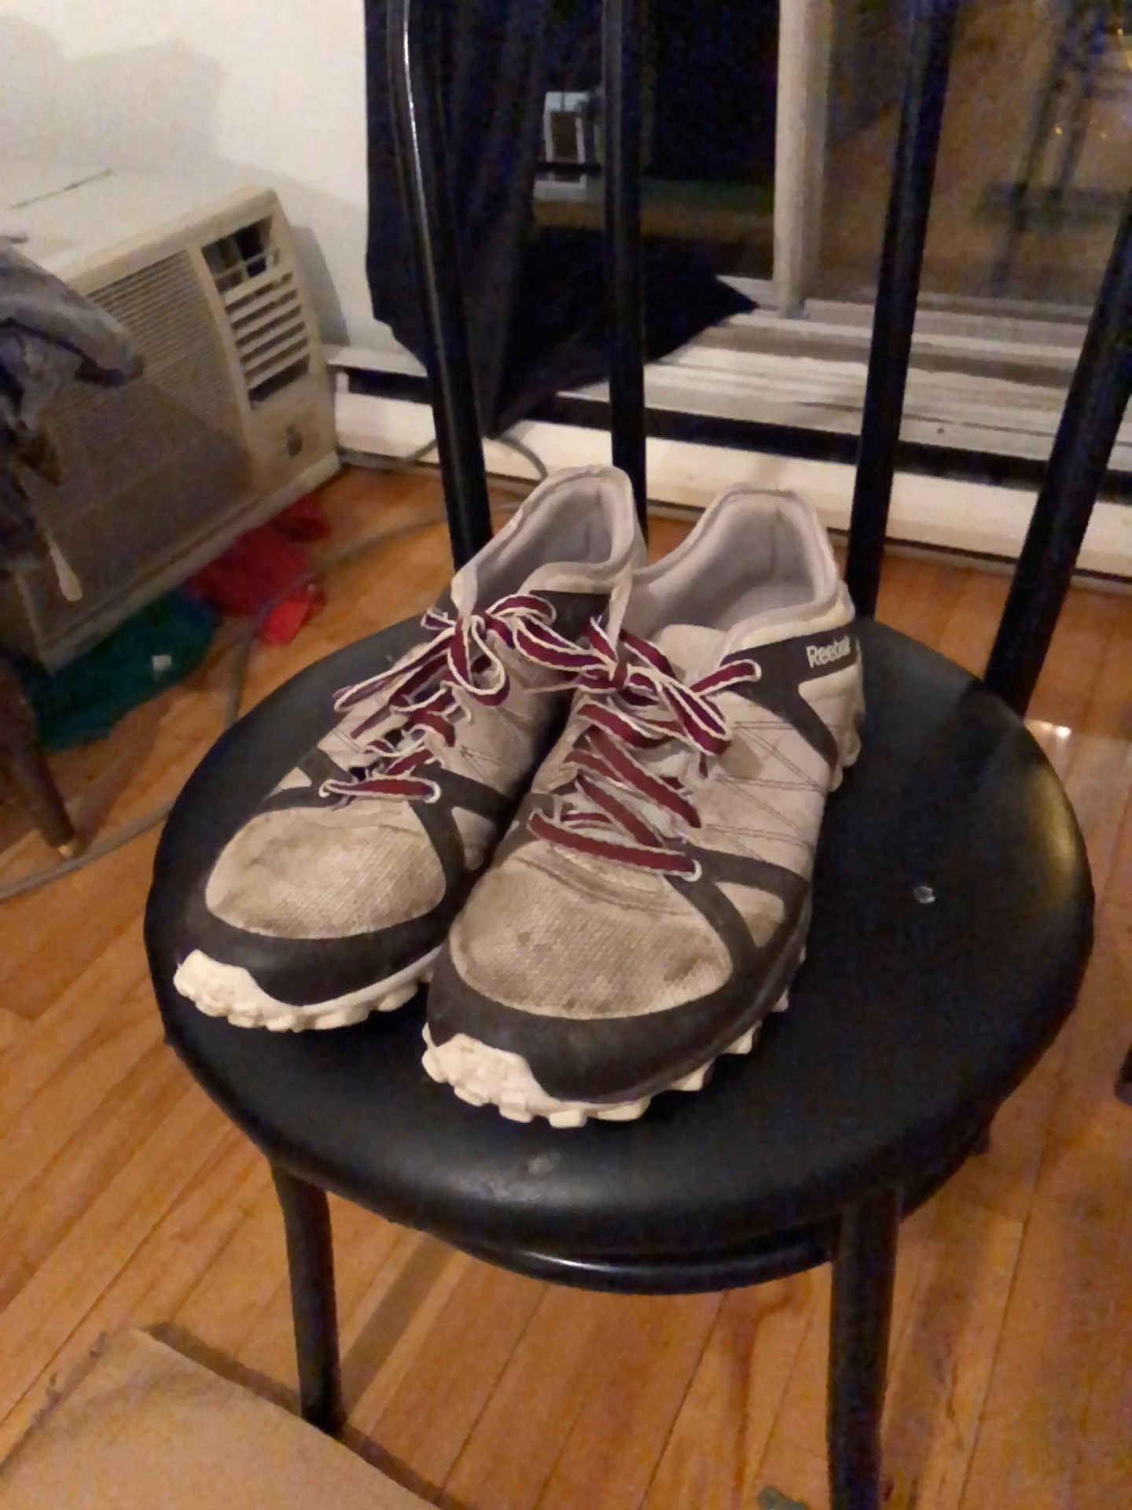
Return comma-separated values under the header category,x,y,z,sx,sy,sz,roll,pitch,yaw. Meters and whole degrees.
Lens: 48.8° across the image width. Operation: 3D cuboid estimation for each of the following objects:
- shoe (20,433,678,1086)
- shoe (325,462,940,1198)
category,x,y,z,sx,sy,sz,roll,pitch,yaw
shoe,-0.060,-0.020,0.491,0.110,0.089,0.272,14,43,23
shoe,0.045,0.002,0.464,0.110,0.089,0.282,14,43,23
